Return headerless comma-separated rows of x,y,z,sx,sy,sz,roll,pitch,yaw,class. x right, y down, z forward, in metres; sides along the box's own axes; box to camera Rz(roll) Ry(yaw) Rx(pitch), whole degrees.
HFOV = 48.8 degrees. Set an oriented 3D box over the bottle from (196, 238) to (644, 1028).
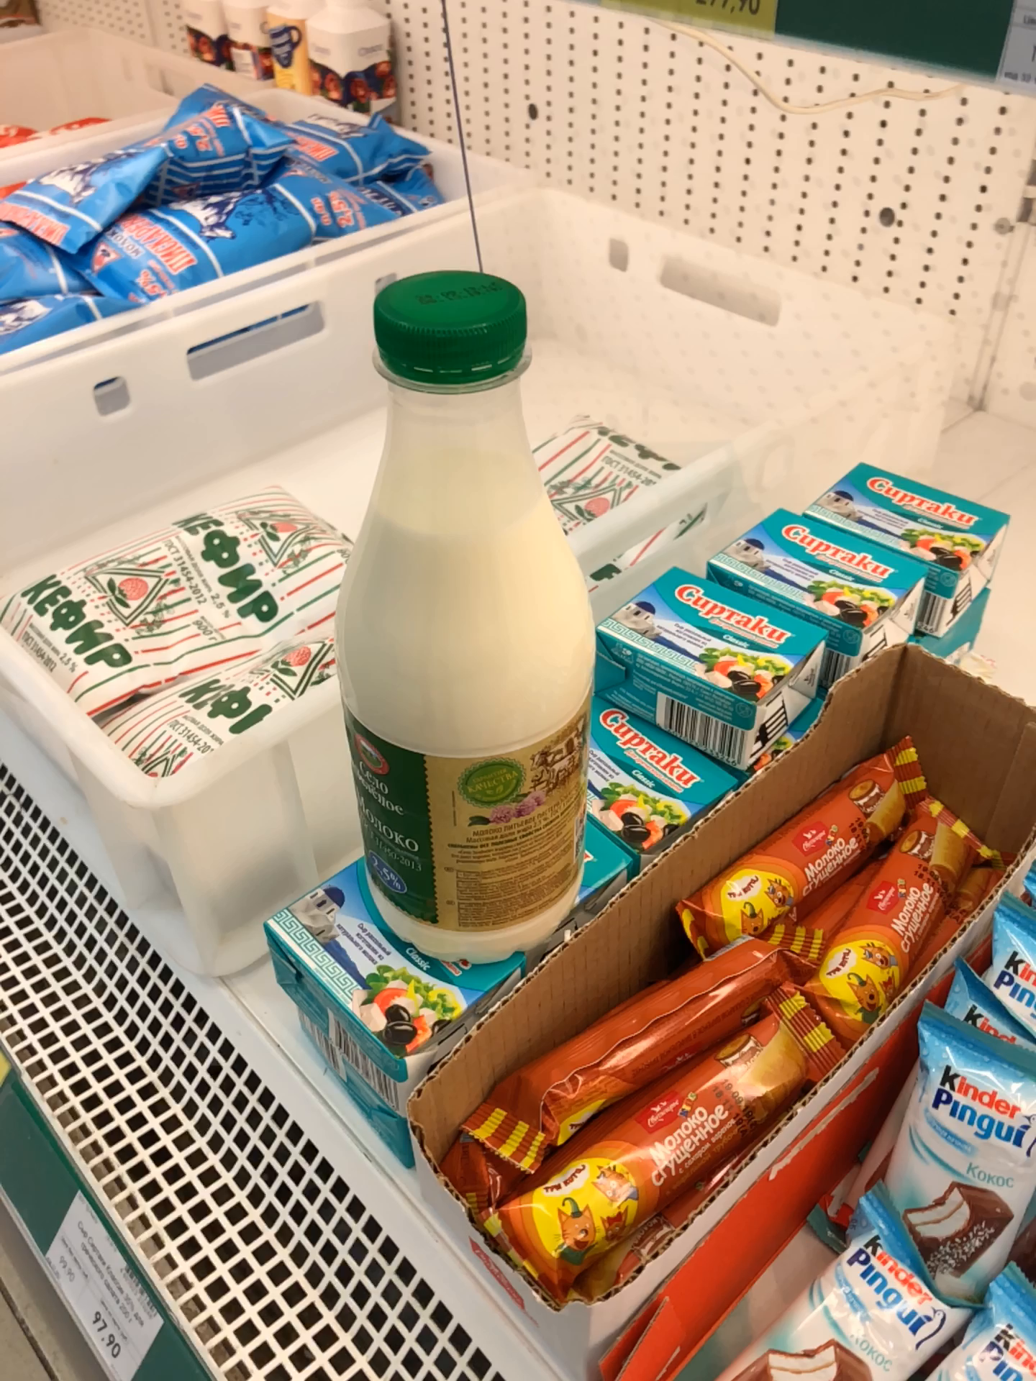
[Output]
-0.023,-0.007,0.375,0.085,0.238,0.081,-1,42,1,bottle
